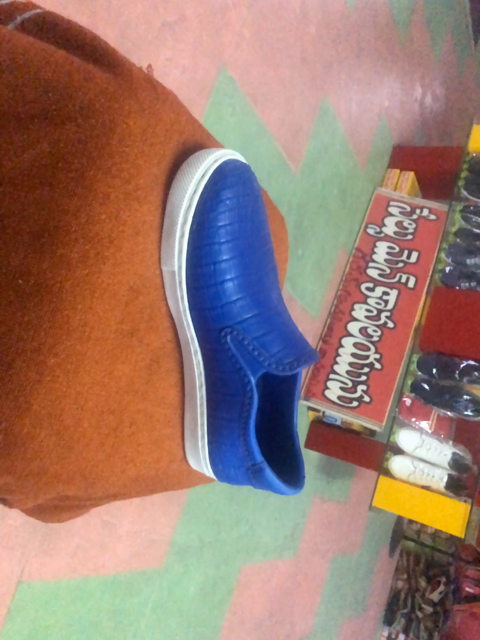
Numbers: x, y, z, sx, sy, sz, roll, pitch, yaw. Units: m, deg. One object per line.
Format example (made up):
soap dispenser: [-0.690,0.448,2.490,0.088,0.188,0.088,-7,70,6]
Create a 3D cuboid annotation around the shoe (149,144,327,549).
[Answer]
shoe: [0.008,0.018,0.432,0.111,0.079,0.300,-30,123,-51]
